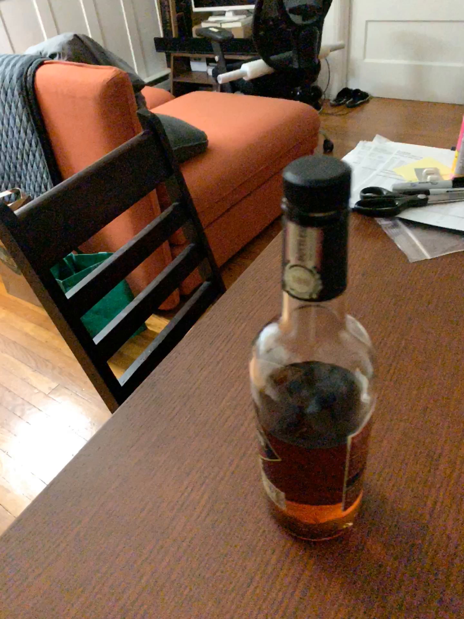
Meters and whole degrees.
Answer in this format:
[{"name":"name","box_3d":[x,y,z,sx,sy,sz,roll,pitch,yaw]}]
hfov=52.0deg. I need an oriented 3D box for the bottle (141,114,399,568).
[{"name":"bottle","box_3d":[0.036,0.042,0.298,0.090,0.288,0.090,-5,40,4]}]
